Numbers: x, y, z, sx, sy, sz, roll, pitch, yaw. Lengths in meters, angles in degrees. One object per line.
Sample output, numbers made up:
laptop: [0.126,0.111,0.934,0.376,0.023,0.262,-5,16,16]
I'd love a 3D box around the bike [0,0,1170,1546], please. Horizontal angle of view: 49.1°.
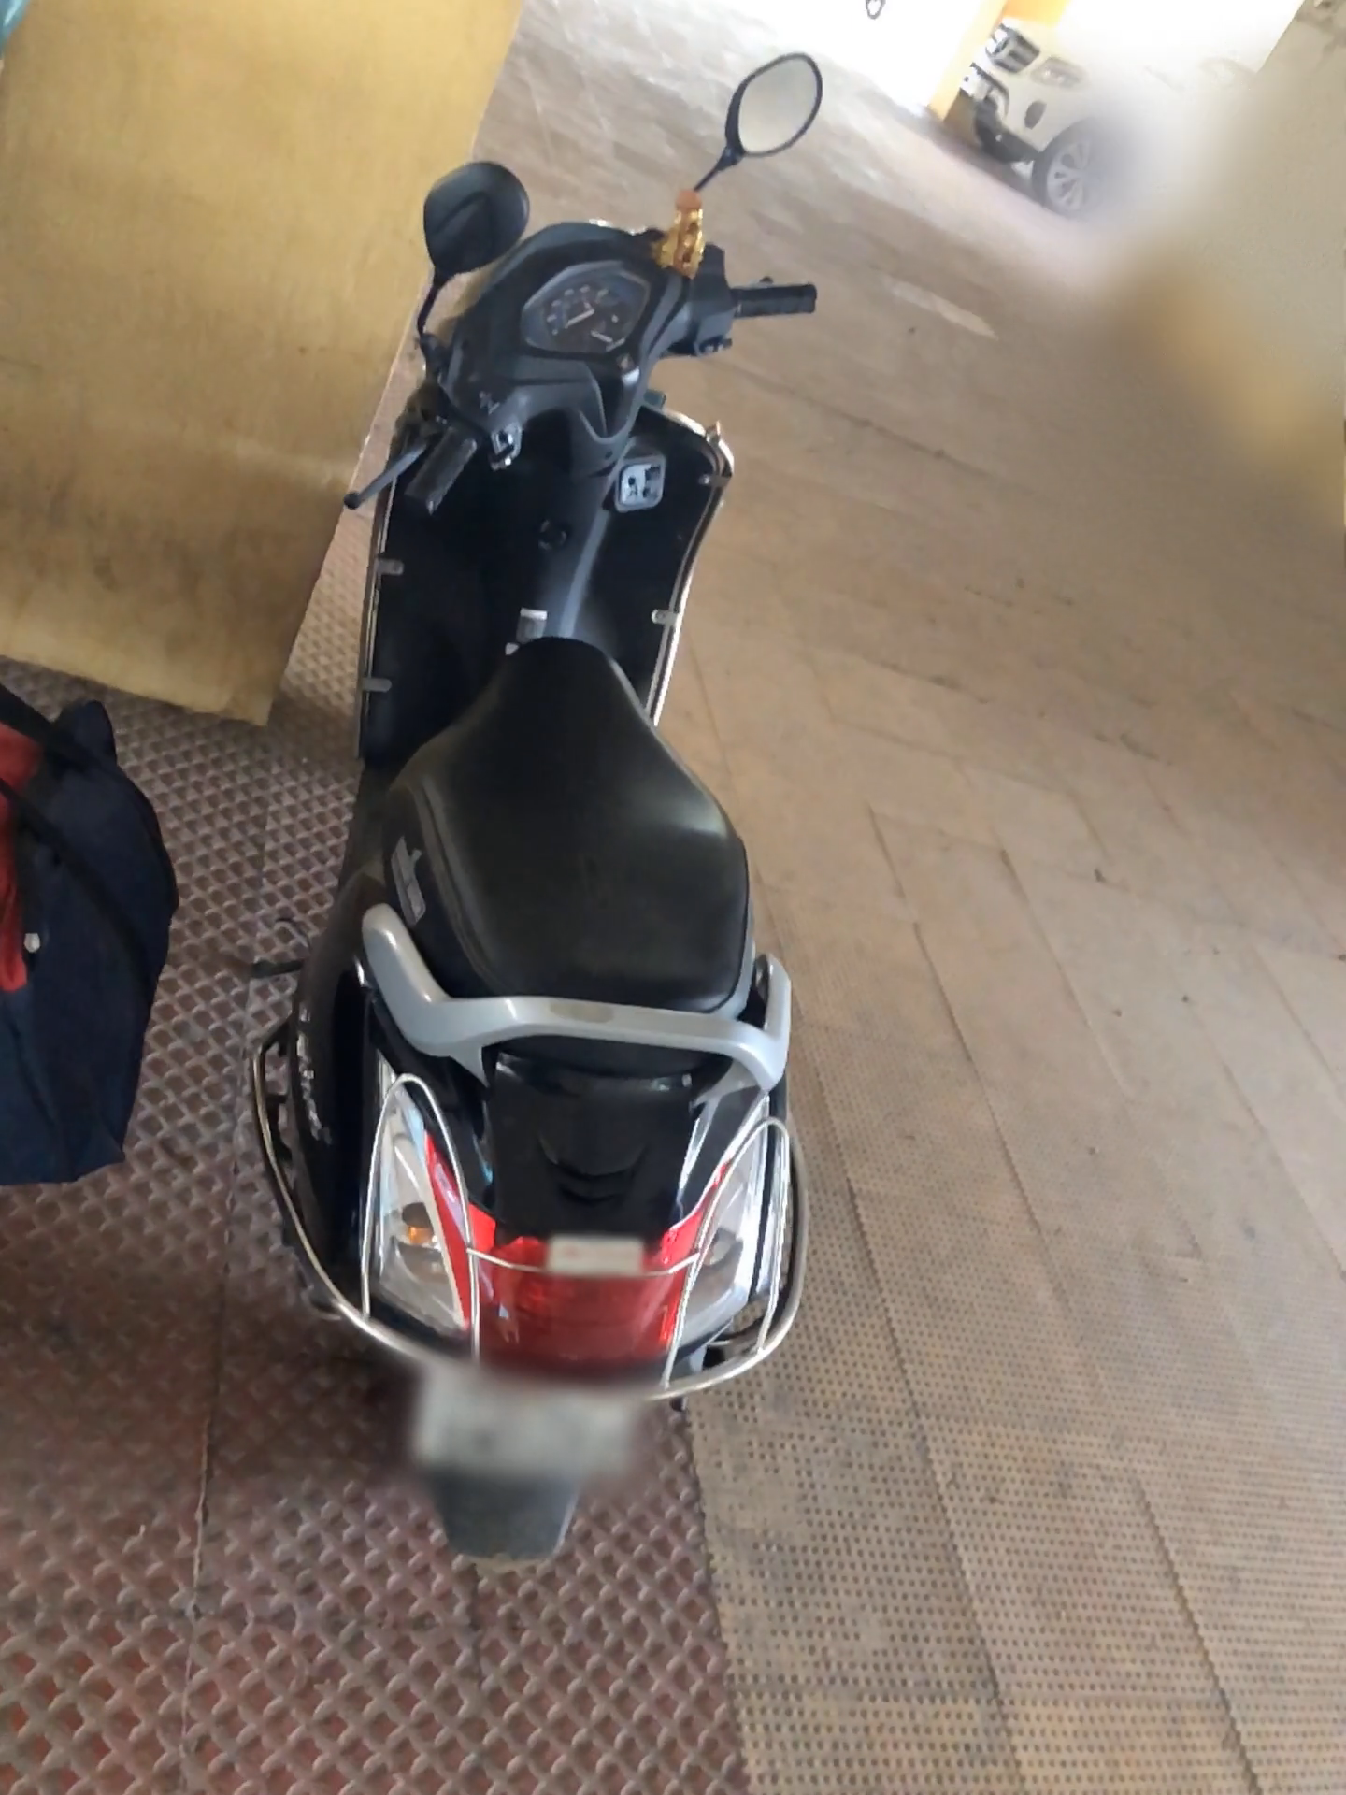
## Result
bike: [-0.302,-0.304,1.715,0.621,0.883,1.666,12,39,-26]
